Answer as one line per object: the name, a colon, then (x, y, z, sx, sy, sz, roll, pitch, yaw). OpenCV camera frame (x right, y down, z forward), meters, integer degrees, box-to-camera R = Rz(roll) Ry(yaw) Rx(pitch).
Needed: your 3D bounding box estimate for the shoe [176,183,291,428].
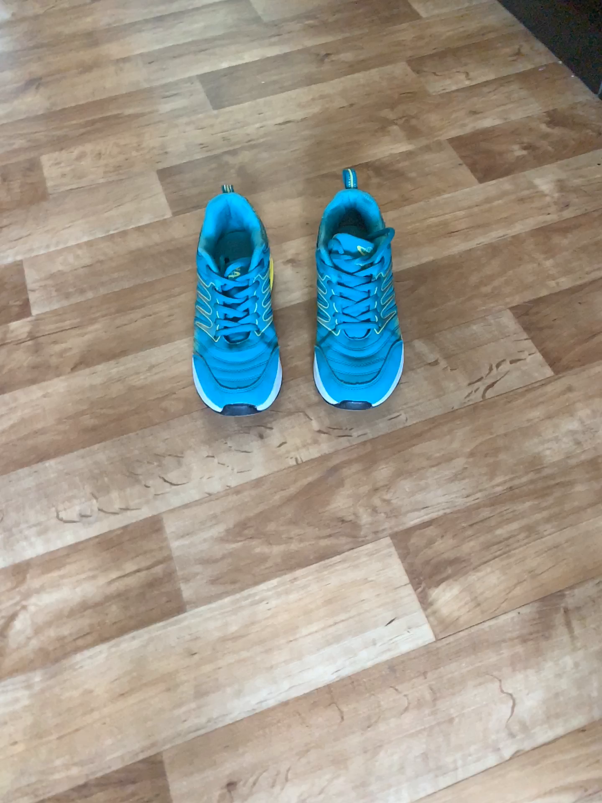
shoe: (-0.069, -0.104, 0.652, 0.100, 0.120, 0.231, -3, 59, -4)

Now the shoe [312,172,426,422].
shoe: (0.063, -0.113, 0.655, 0.100, 0.120, 0.241, 1, 60, 1)
